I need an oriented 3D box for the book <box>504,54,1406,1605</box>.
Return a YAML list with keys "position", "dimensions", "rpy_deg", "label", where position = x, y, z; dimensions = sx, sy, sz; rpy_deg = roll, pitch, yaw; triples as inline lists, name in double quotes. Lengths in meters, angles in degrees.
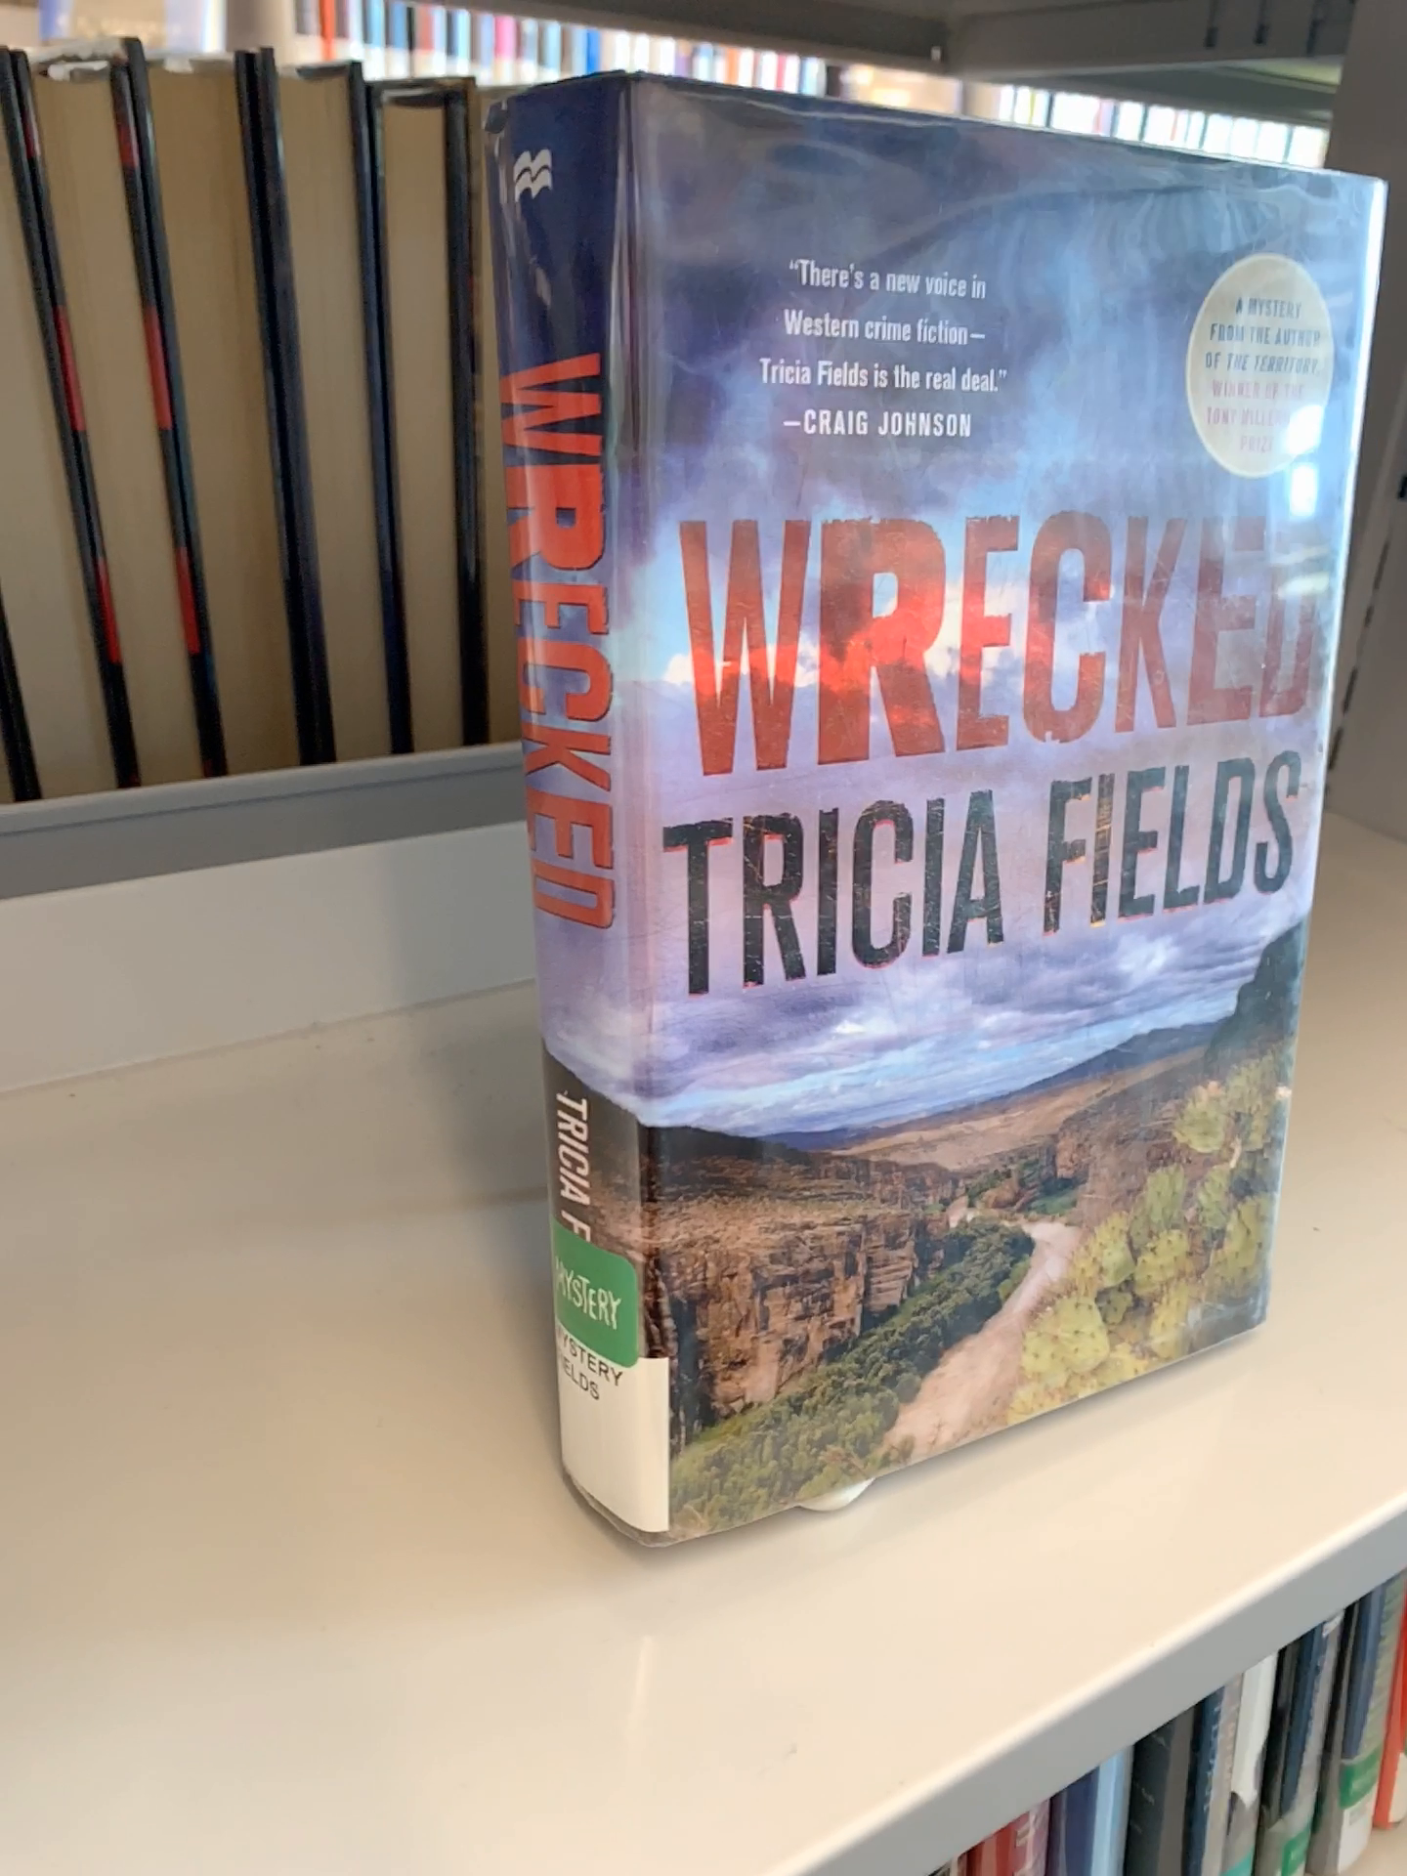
- position: [0.049, -0.014, 0.245]
  dimensions: [0.150, 0.213, 0.034]
  rpy_deg: [-10, 19, -27]
  label: "book"
